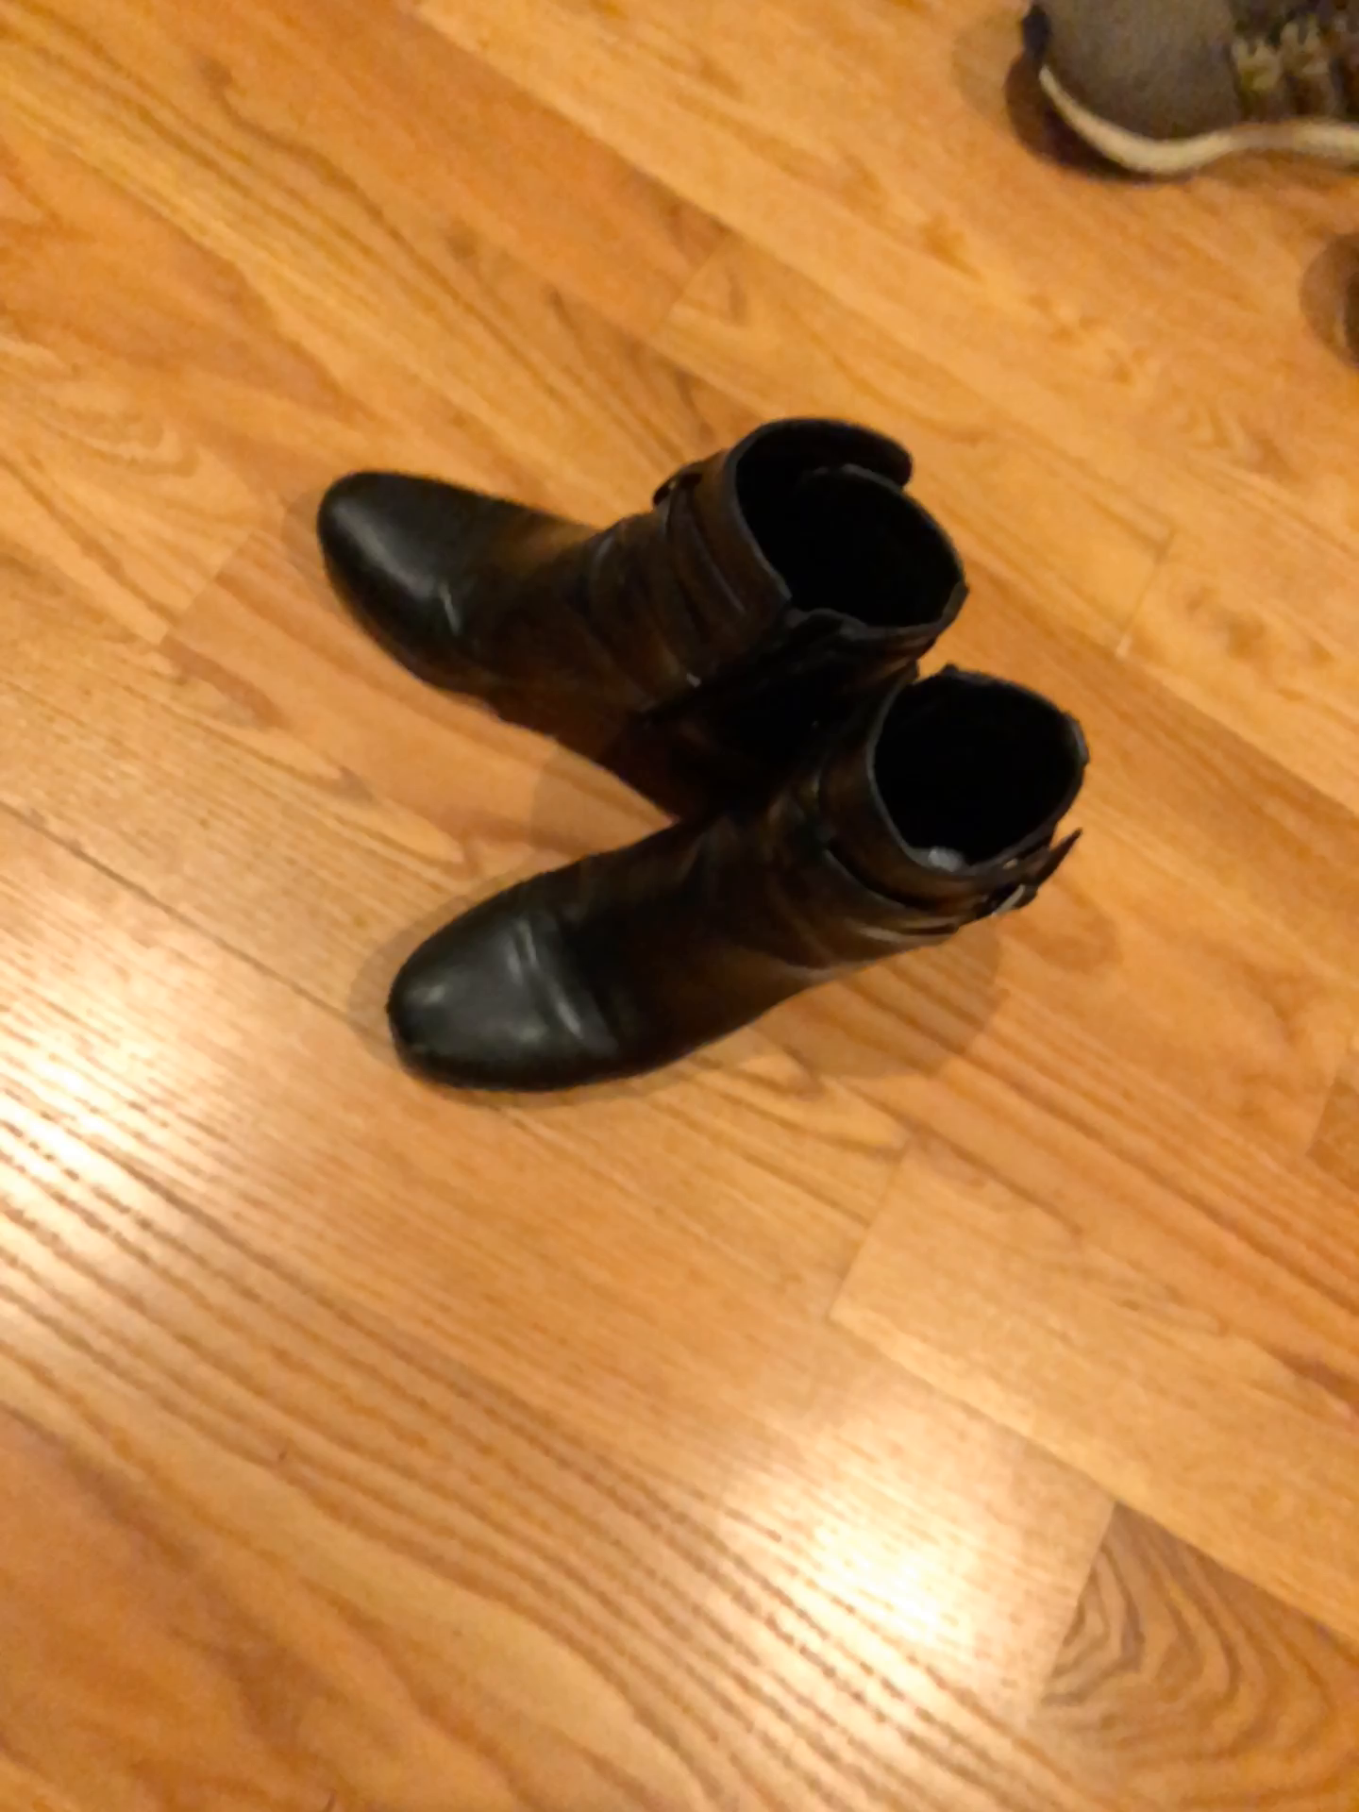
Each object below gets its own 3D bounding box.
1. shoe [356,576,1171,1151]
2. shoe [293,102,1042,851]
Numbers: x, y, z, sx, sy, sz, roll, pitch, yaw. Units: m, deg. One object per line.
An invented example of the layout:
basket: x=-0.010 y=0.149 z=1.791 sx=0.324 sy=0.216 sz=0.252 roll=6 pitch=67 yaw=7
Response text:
shoe: x=0.015 y=-0.009 z=0.524 sx=0.226 sy=0.173 sz=0.090 roll=-17 pitch=77 yaw=-19
shoe: x=-0.018 y=-0.141 z=0.556 sx=0.226 sy=0.173 sz=0.090 roll=29 pitch=68 yaw=-4
